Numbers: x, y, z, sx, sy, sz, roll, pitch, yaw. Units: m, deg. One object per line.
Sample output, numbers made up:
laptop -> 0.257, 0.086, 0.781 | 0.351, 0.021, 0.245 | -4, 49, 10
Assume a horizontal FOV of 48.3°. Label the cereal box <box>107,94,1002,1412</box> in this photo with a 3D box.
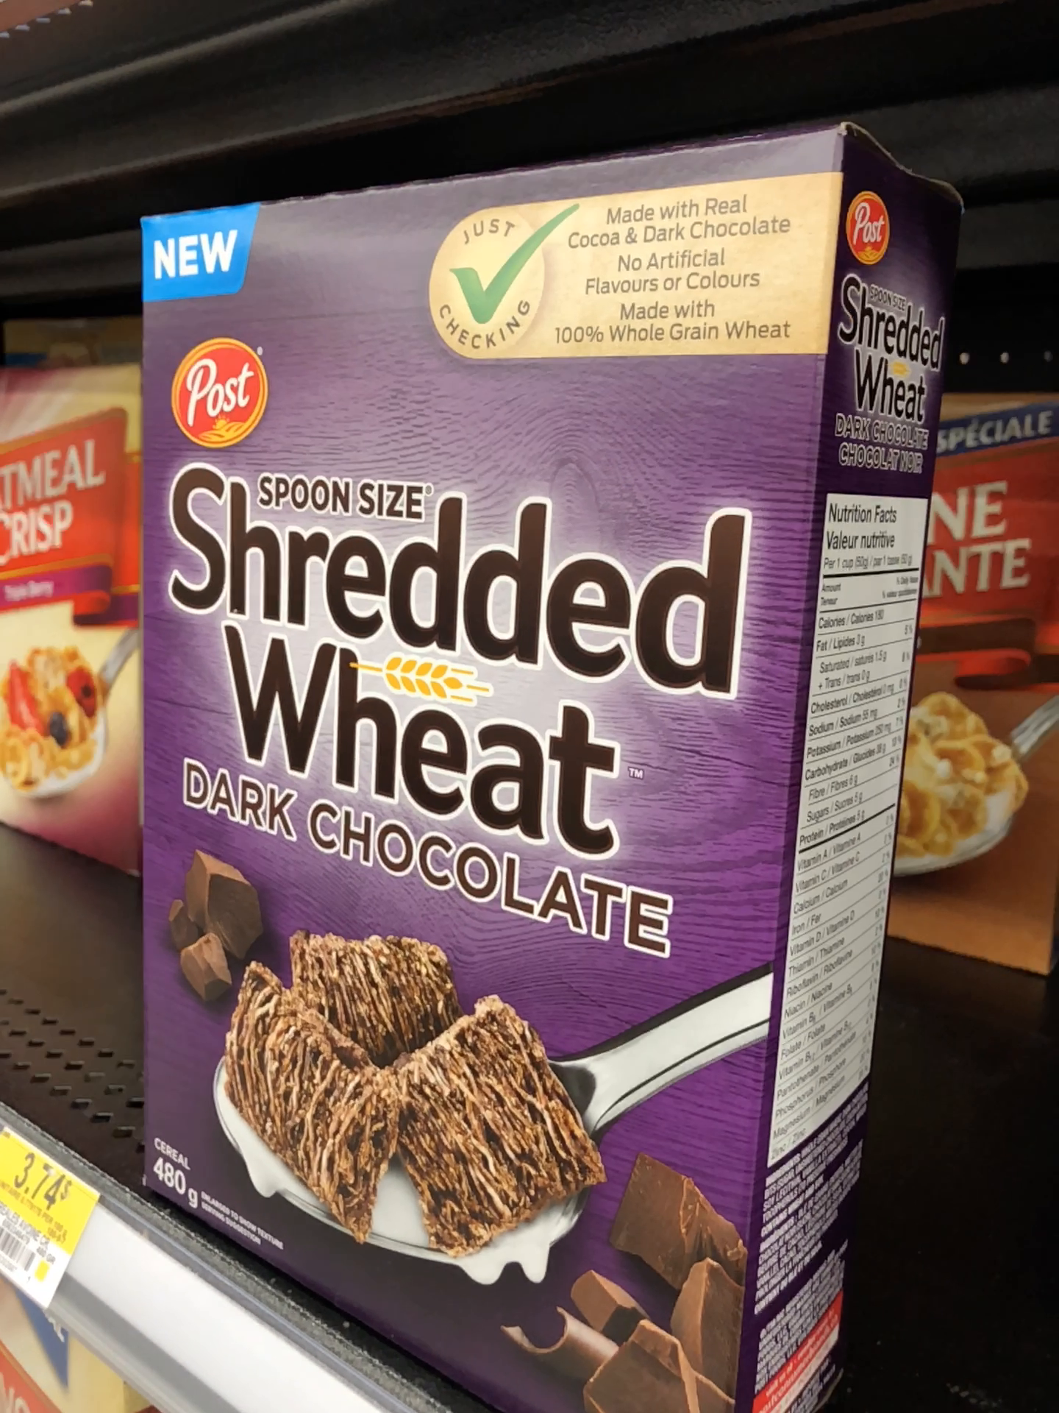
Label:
cereal box -> -0.013, 0.021, 0.284 | 0.200, 0.269, 0.060 | 10, 13, 36
